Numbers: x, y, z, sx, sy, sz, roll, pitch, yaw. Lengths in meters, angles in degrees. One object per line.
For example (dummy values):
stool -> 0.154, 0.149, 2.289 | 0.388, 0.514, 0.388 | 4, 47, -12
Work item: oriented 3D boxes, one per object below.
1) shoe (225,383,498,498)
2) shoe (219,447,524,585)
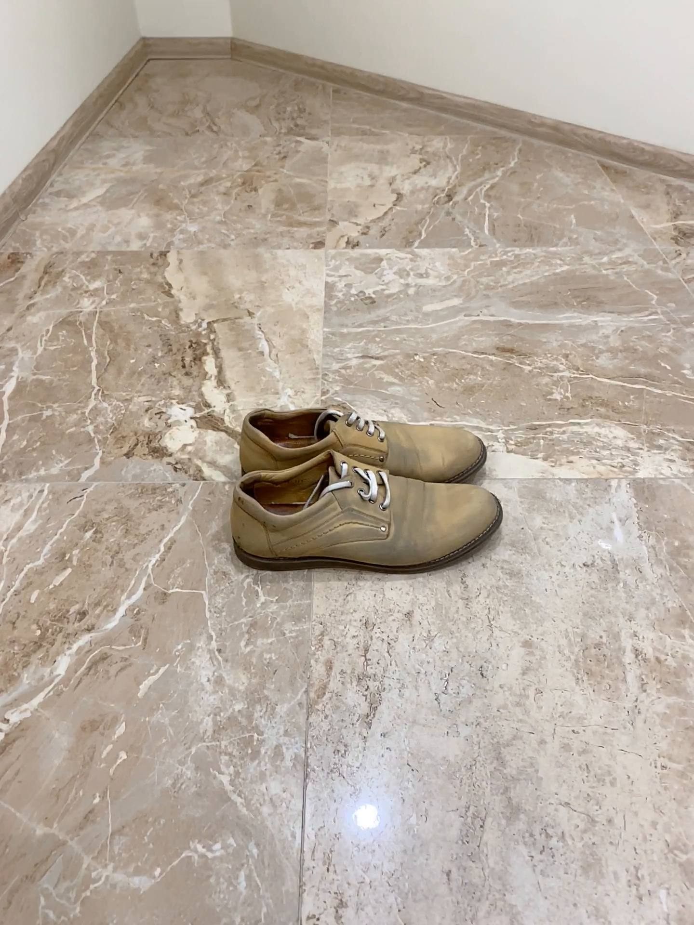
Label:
shoe -> 0.014, -0.026, 0.793 | 0.280, 0.070, 0.111 | -1, 43, -1
shoe -> 0.022, 0.052, 0.718 | 0.280, 0.080, 0.111 | -1, 43, -1
